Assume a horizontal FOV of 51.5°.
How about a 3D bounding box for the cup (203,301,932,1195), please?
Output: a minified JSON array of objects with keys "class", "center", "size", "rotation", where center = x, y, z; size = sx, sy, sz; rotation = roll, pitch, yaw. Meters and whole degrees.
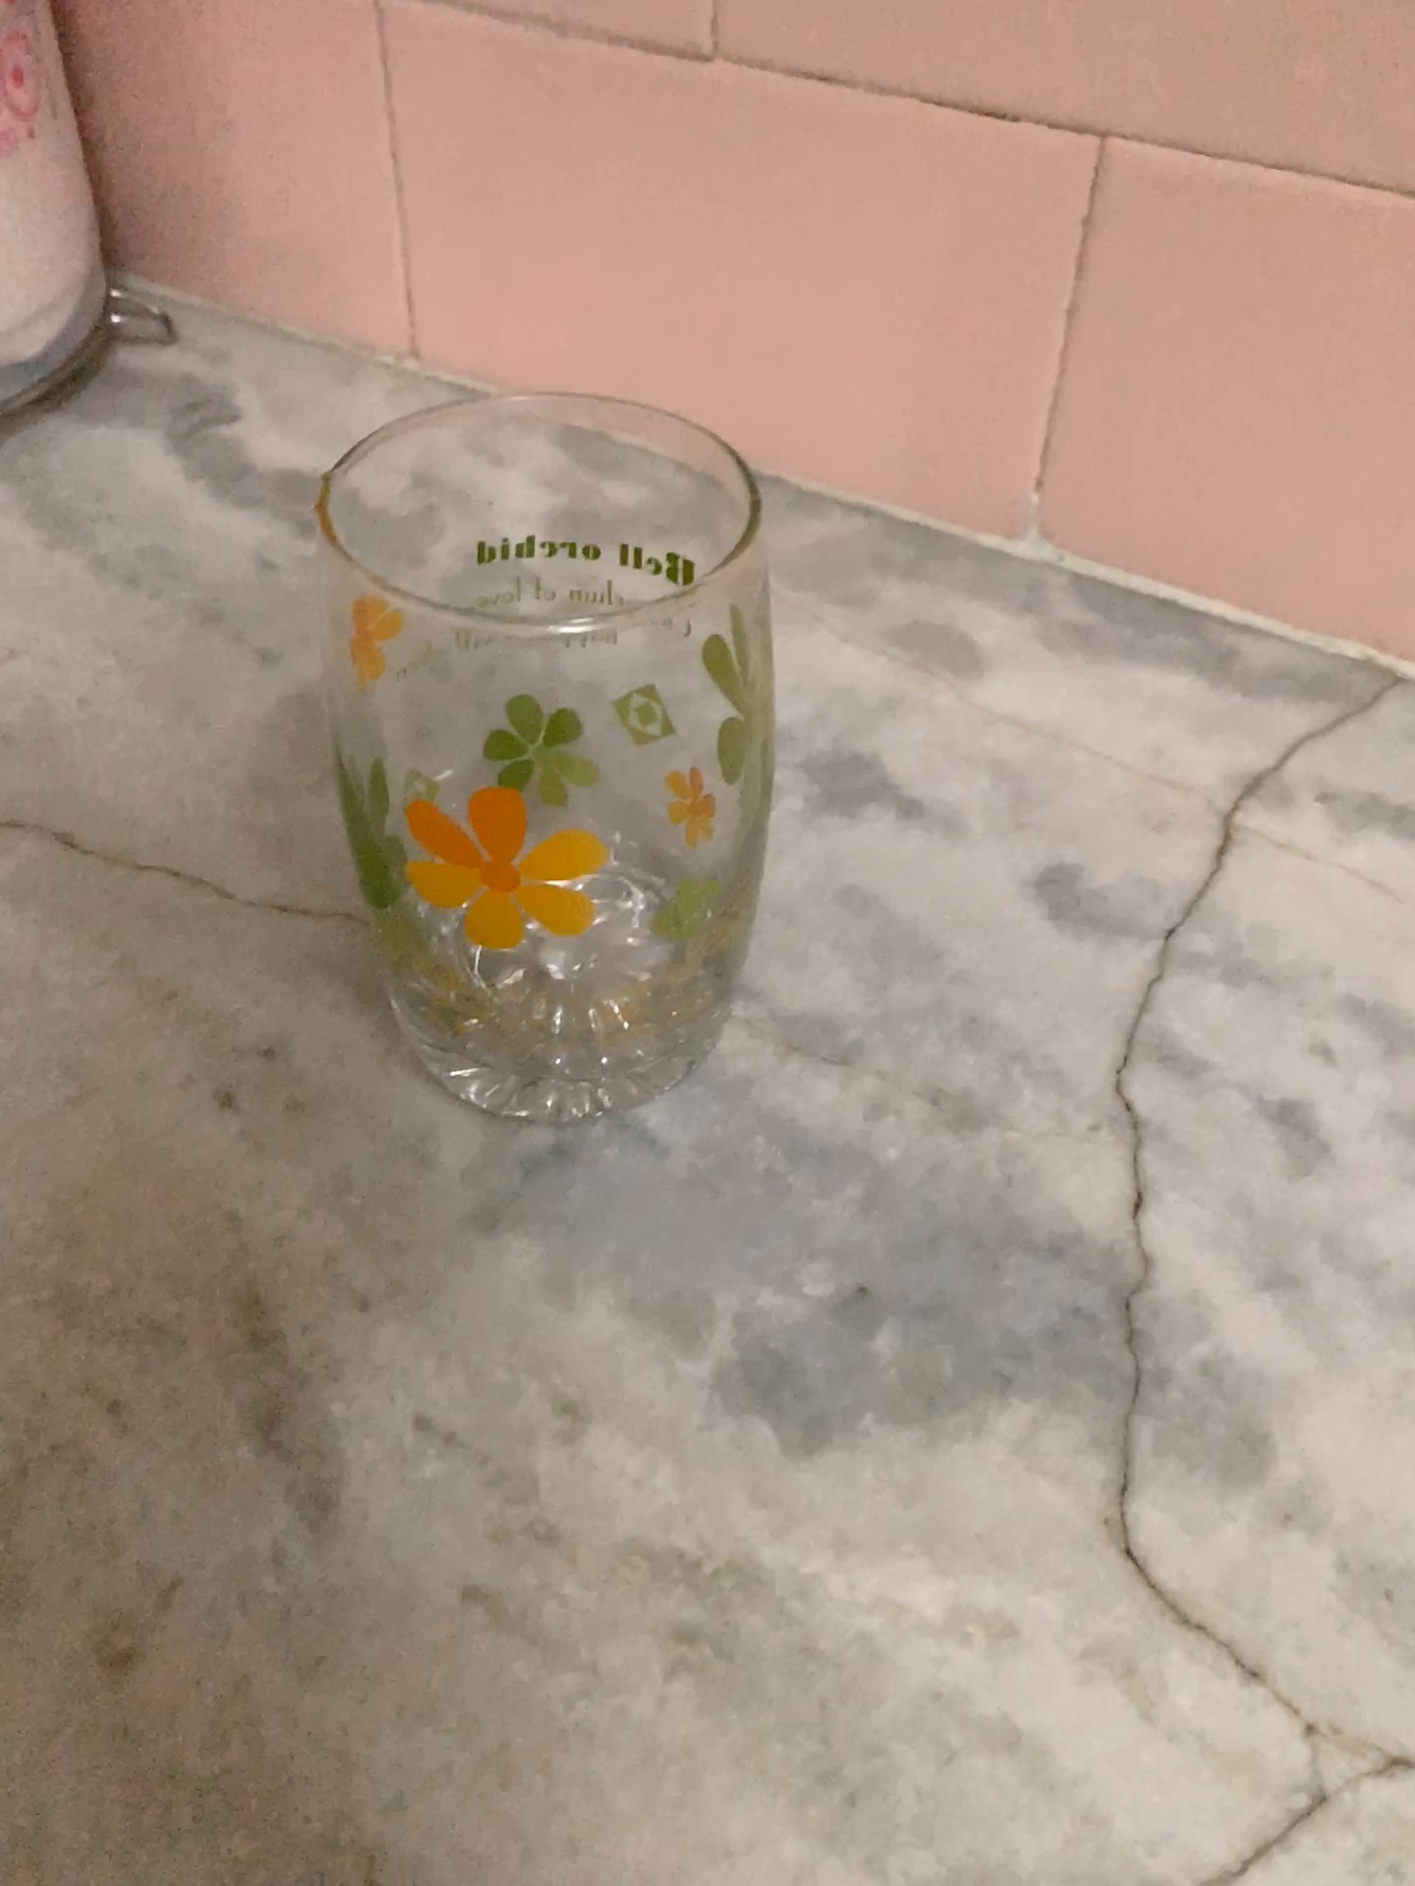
[{"class":"cup","center":[-0.021,-0.030,0.229],"size":[0.070,0.100,0.070],"rotation":[1,45,-1]}]
